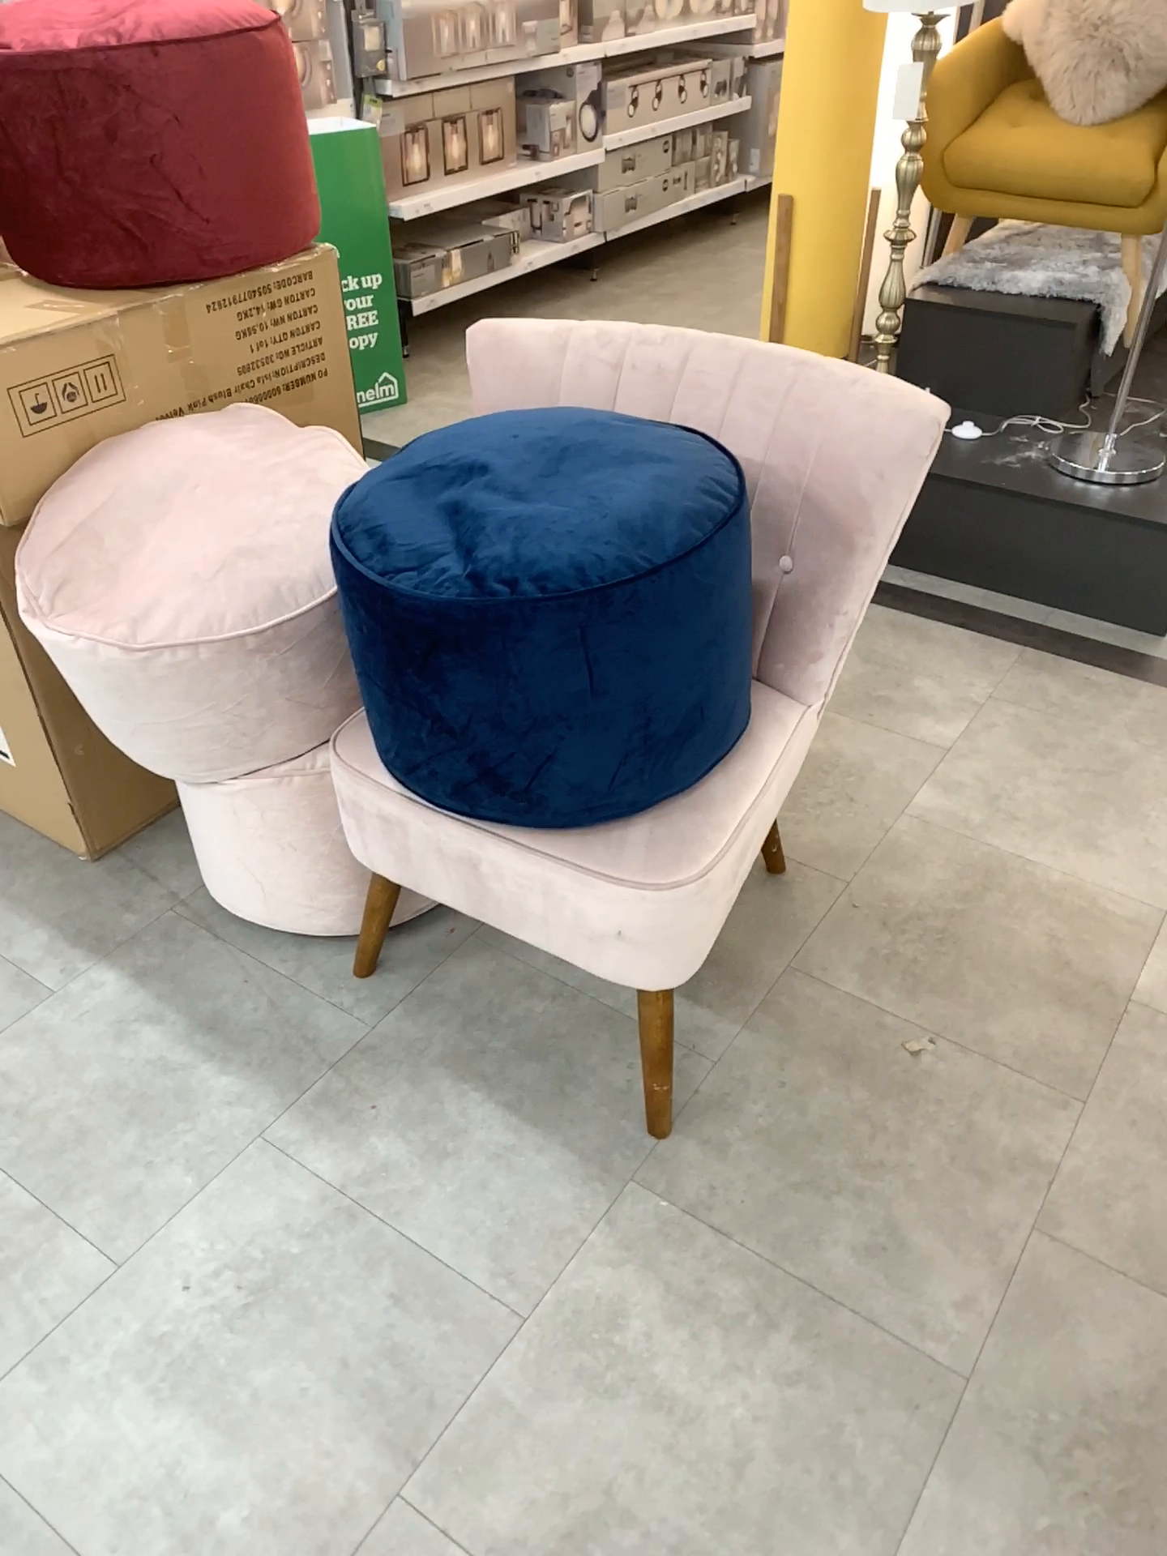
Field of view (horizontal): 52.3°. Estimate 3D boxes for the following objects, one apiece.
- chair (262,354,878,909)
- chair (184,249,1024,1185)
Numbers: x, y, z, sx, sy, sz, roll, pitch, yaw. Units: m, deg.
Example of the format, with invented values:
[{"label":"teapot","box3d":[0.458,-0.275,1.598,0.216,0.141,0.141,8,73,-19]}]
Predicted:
[{"label":"chair","box3d":[0.000,-0.216,1.423,0.477,0.363,0.507,23,43,29]},{"label":"chair","box3d":[0.065,-0.140,1.599,0.657,0.848,0.749,21,42,27]}]
